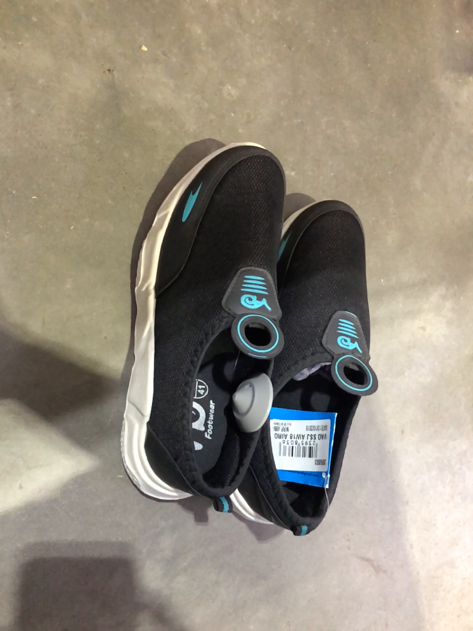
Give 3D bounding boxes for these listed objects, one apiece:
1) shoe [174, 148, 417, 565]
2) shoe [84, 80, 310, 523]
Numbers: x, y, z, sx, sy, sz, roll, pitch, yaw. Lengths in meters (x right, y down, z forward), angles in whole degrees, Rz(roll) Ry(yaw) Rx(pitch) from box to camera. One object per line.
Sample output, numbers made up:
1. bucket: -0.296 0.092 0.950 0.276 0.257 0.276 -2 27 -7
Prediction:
1. shoe: 0.051 0.032 0.445 0.110 0.100 0.300 18 79 -23
2. shoe: -0.032 -0.005 0.415 0.110 0.100 0.300 11 82 -24
